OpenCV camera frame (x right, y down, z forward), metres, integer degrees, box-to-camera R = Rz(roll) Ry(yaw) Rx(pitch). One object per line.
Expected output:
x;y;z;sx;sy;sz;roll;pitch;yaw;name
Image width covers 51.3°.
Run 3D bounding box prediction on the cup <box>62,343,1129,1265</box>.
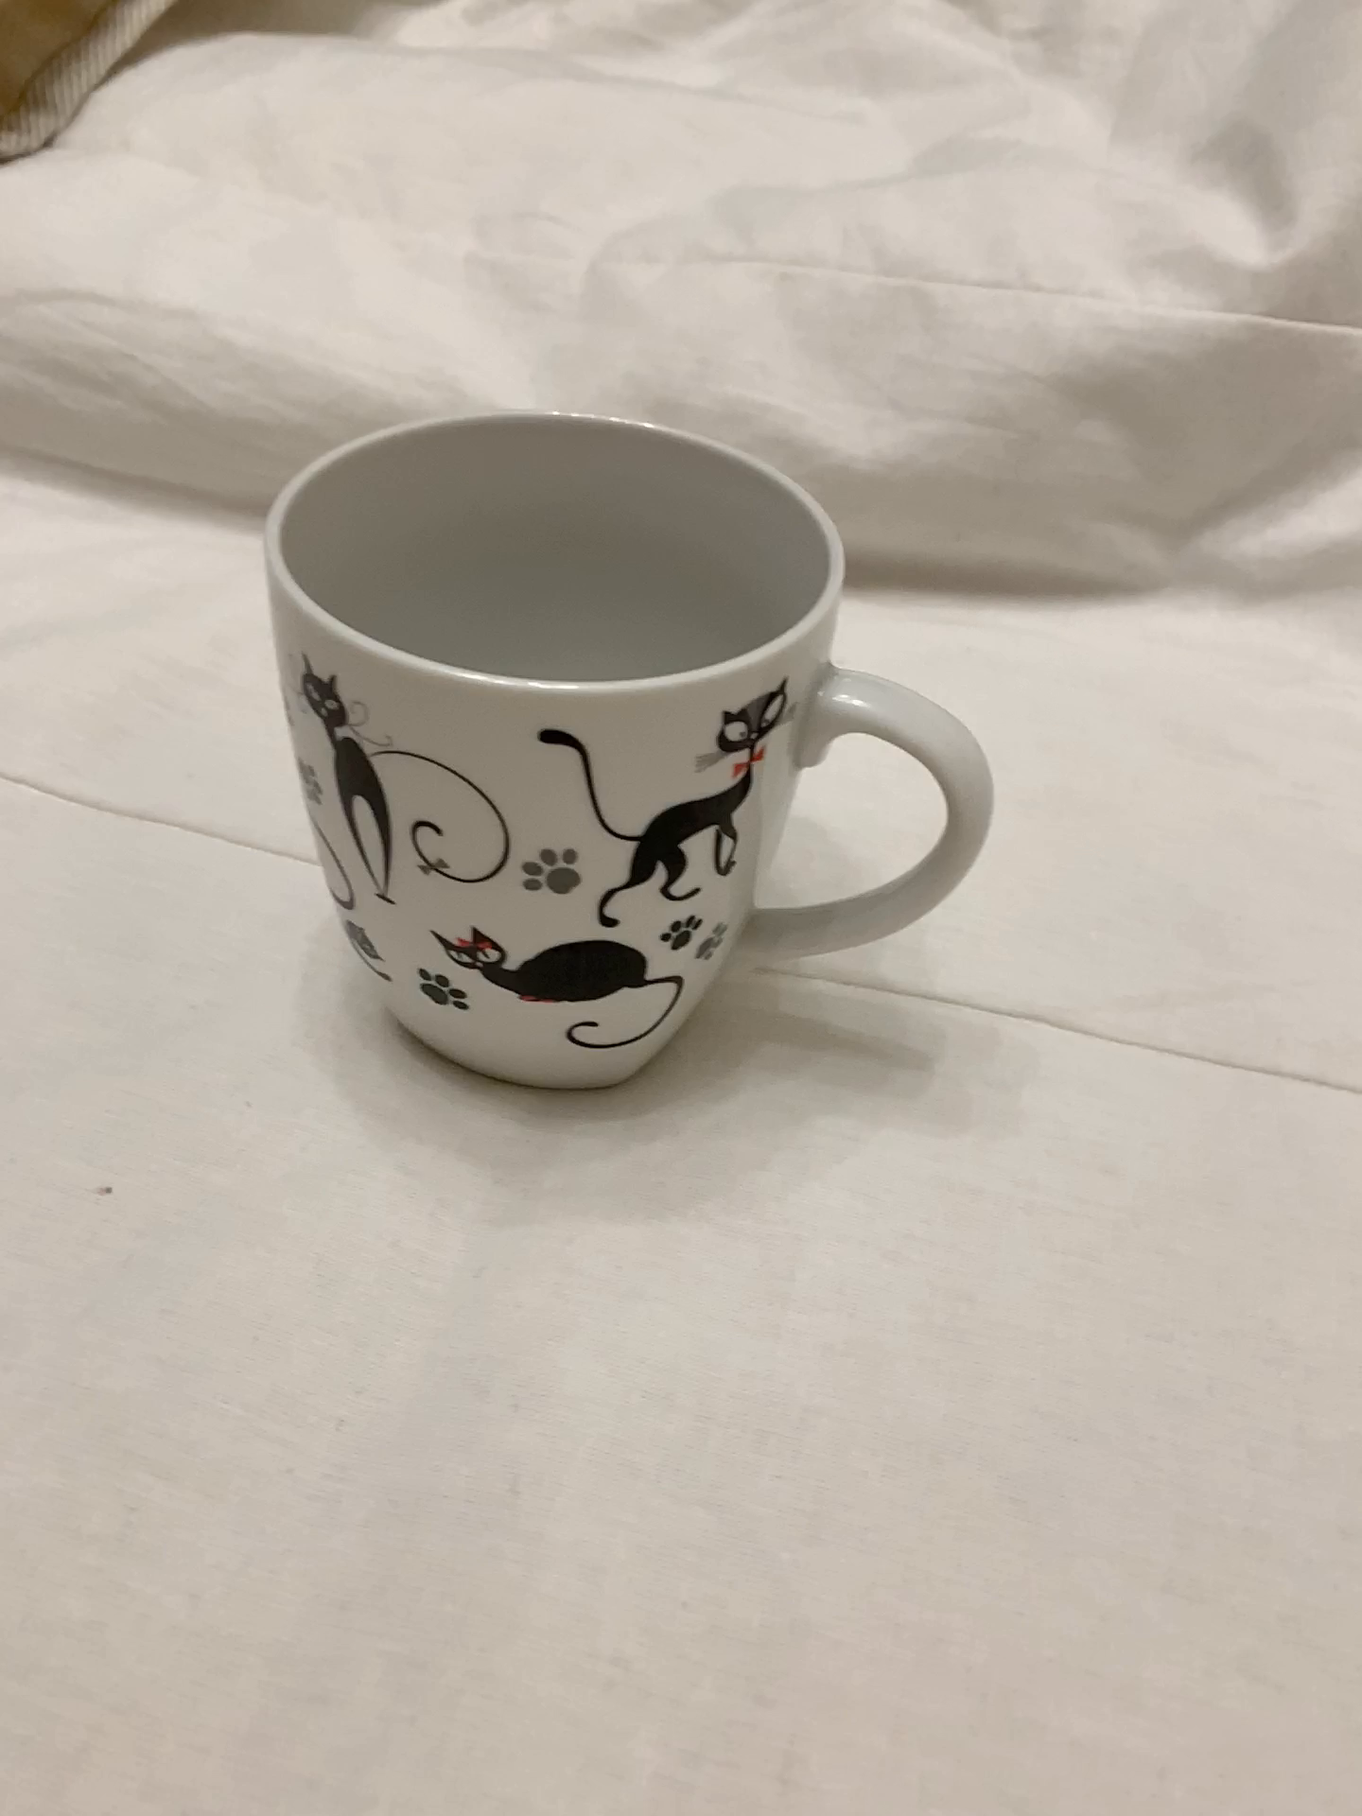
-0.009;-0.022;0.216;0.119;0.077;0.081;20;45;18;cup
